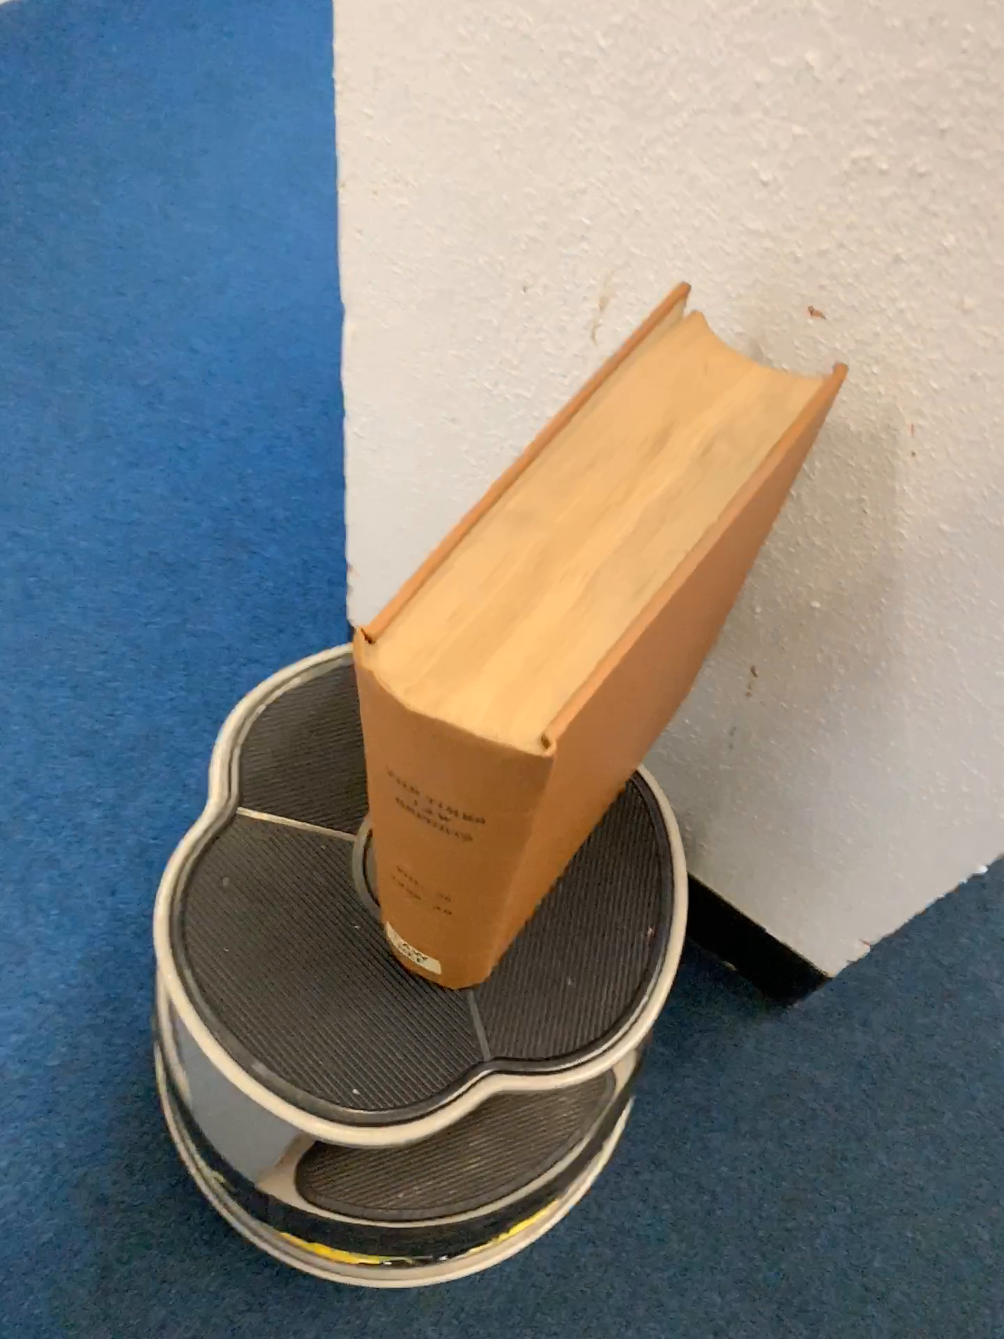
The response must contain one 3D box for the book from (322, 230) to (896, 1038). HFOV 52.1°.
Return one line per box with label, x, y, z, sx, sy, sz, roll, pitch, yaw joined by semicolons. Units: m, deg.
book;0.028;0.015;0.479;0.090;0.338;0.221;33;60;12
